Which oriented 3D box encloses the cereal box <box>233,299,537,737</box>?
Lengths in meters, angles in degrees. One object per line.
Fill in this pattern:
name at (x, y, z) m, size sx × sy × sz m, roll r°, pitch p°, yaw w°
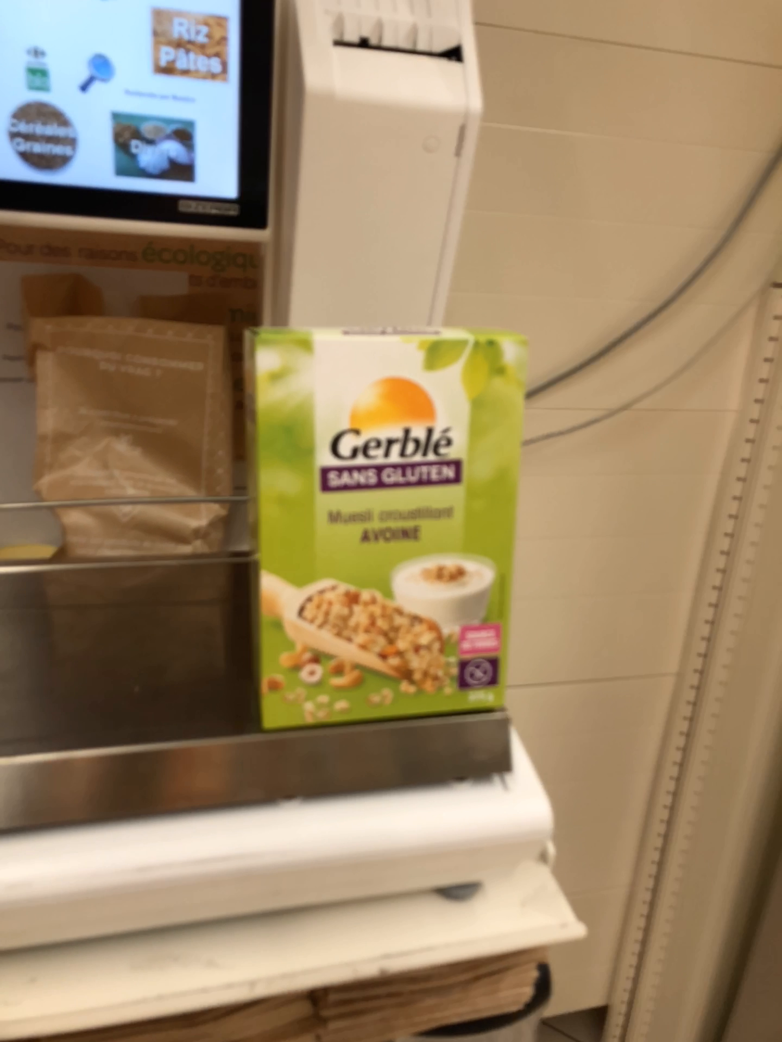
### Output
cereal box at (-0.006, -0.003, 0.467) m, size 0.150 × 0.229 × 0.050 m, roll -3°, pitch 16°, yaw -13°
